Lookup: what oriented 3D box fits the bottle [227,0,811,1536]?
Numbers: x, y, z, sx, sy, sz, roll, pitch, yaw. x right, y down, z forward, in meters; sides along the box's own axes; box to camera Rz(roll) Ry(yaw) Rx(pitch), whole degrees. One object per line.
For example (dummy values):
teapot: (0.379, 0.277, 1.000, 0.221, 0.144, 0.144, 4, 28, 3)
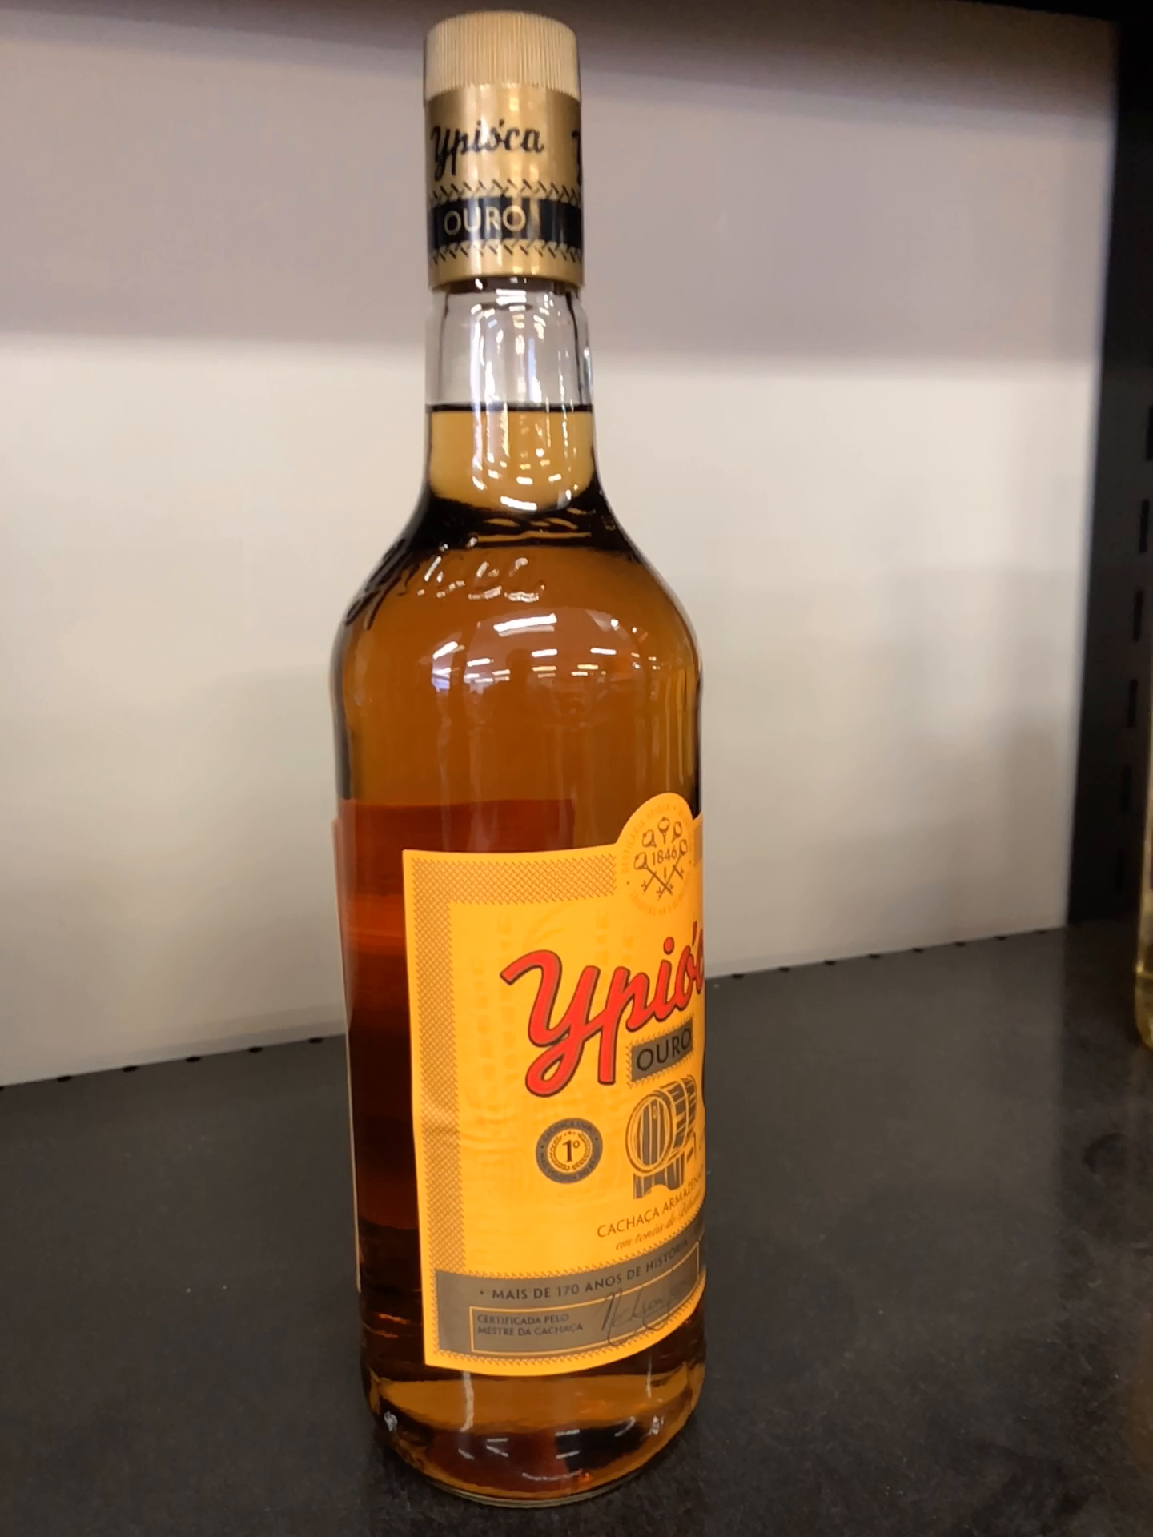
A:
bottle: (-0.011, 0.003, 0.264, 0.070, 0.309, 0.080, 11, 15, 42)
